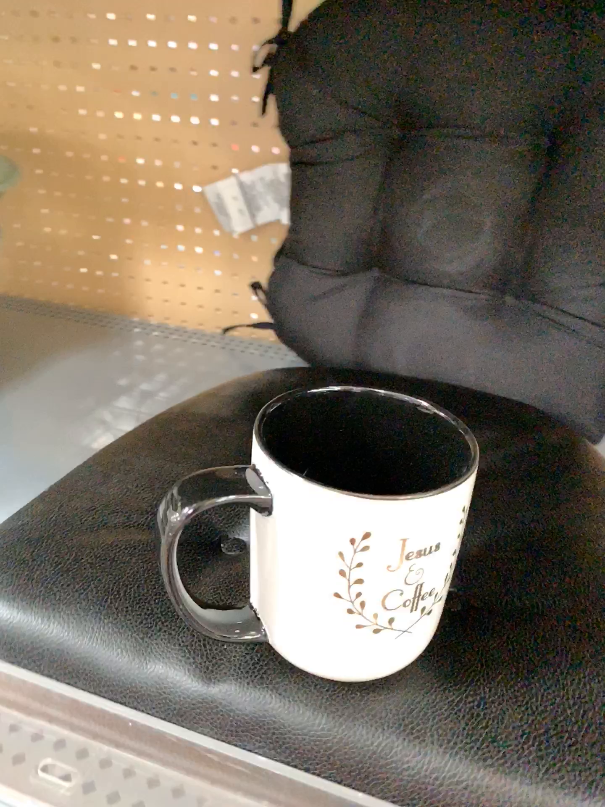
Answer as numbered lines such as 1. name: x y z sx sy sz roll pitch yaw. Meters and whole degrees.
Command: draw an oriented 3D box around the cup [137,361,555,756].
1. cup: 0.009 0.055 0.277 0.142 0.104 0.102 -7 27 -18
